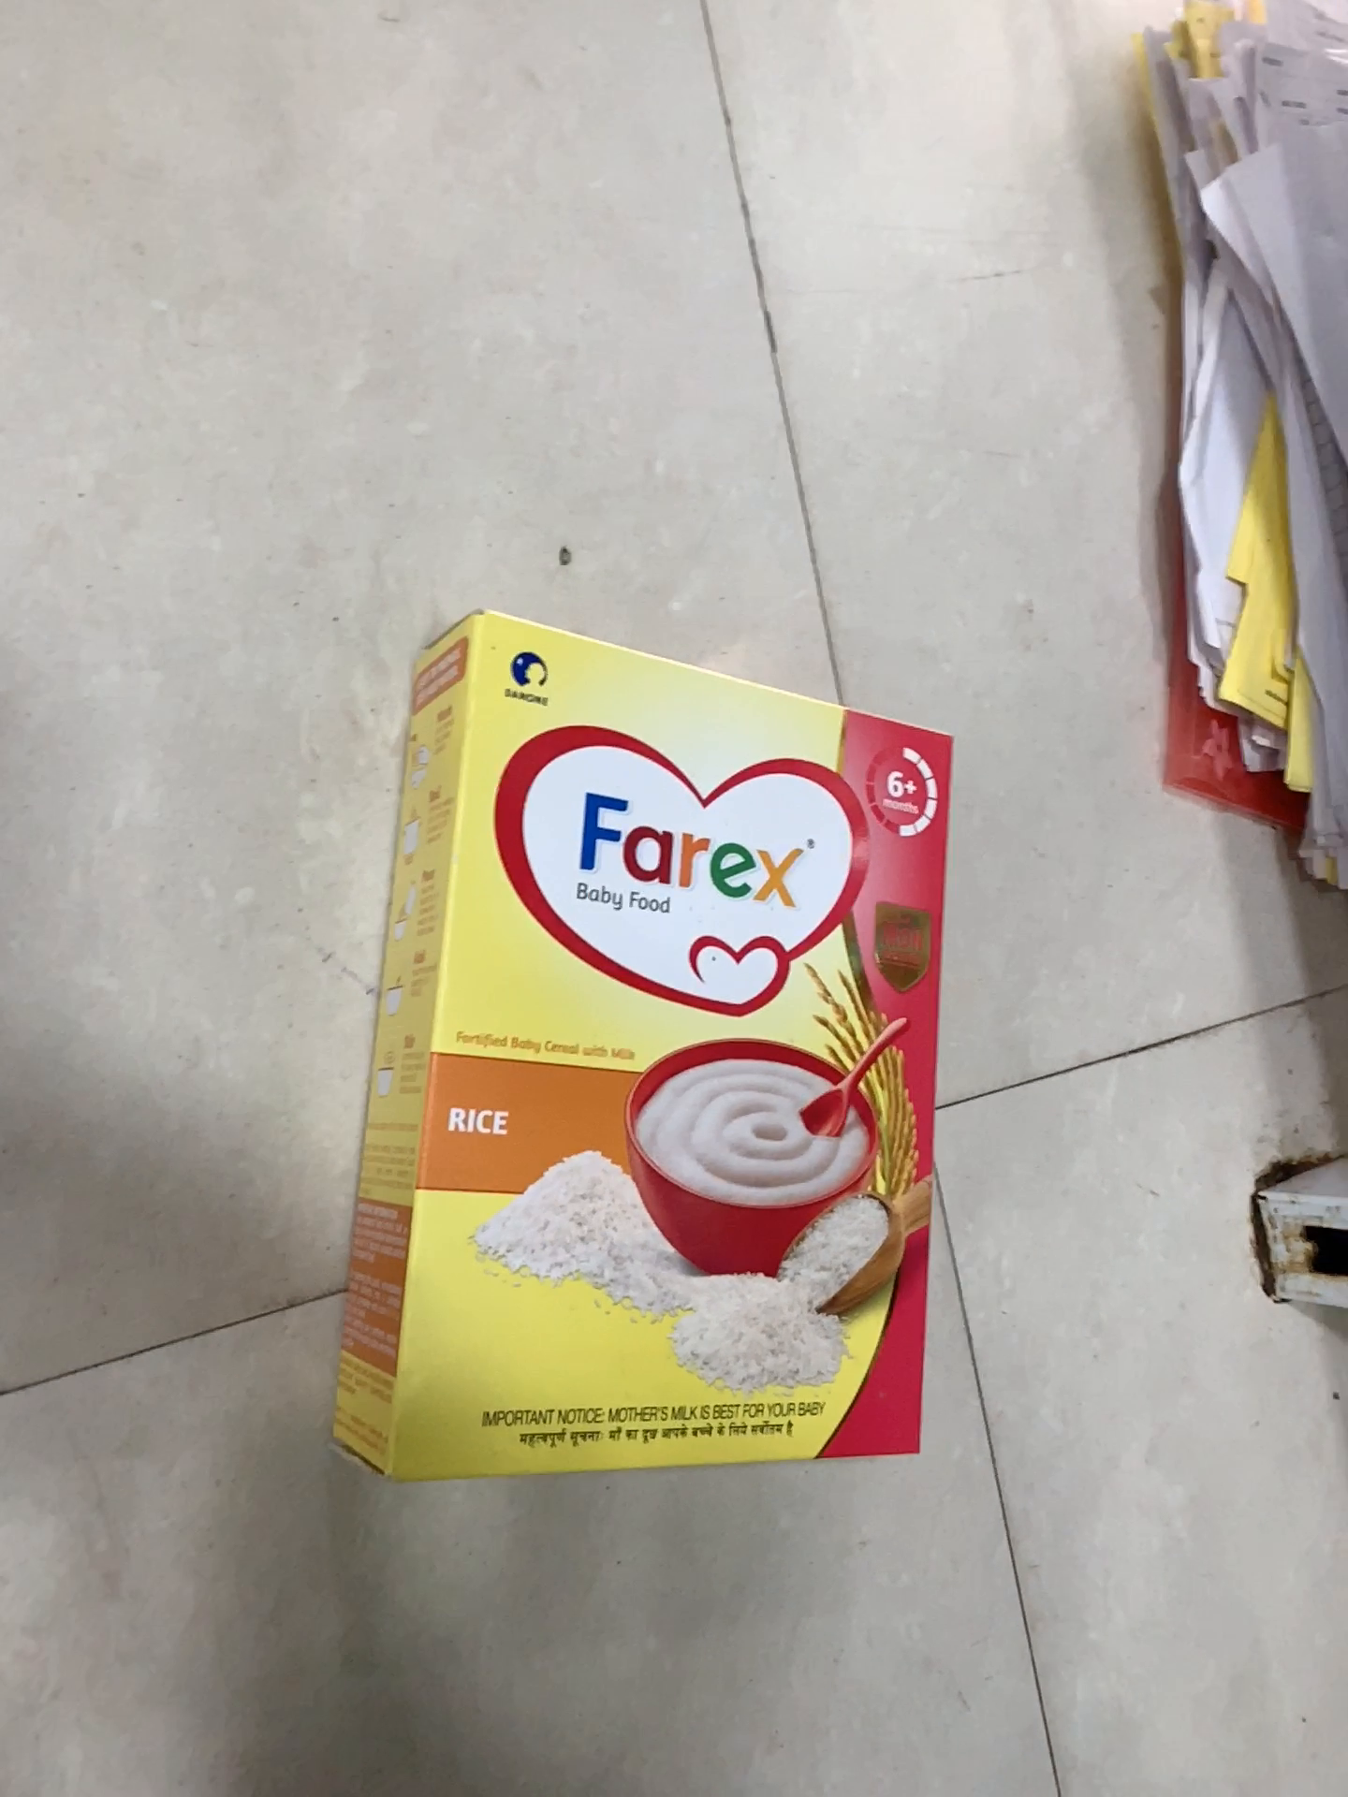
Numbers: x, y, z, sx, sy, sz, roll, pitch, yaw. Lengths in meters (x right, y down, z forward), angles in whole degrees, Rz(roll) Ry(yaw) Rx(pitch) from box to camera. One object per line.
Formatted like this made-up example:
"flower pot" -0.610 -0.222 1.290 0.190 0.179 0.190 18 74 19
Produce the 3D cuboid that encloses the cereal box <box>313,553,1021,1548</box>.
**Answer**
"cereal box" 0.006 0.041 0.356 0.160 0.060 0.210 10 78 -29
